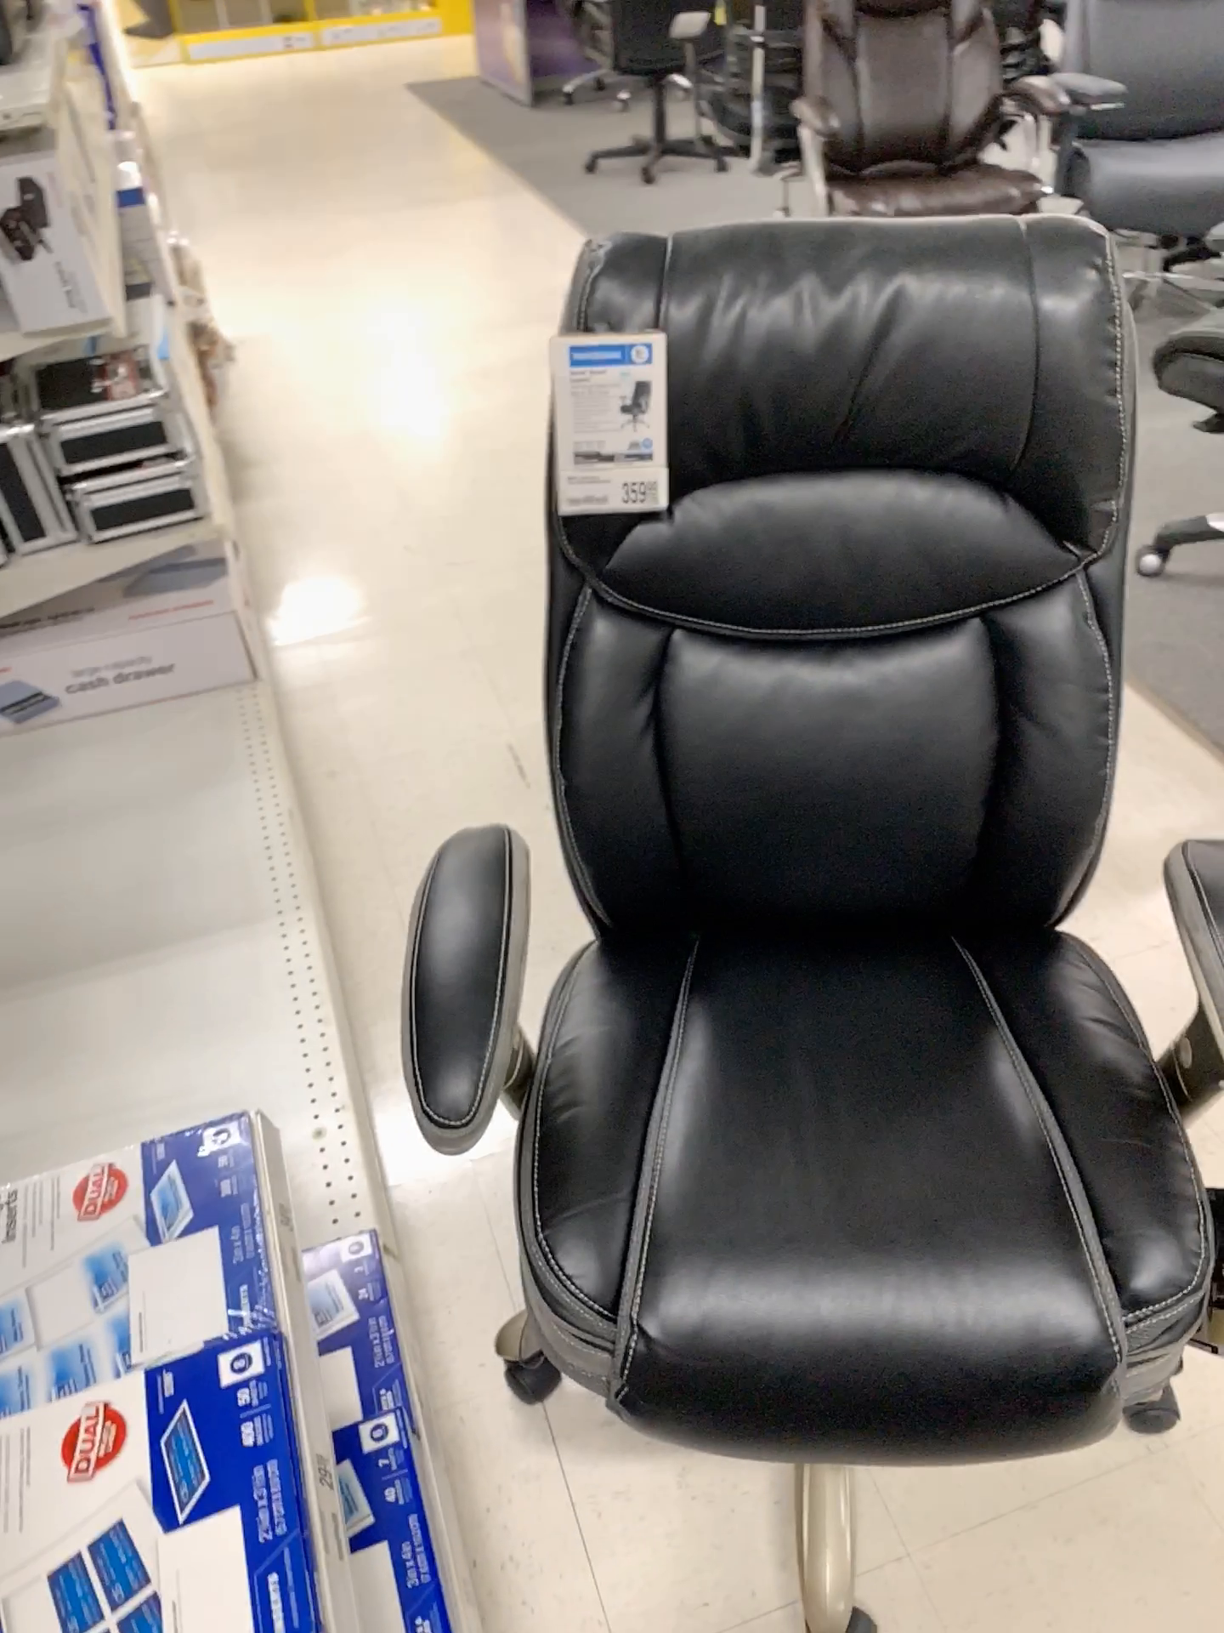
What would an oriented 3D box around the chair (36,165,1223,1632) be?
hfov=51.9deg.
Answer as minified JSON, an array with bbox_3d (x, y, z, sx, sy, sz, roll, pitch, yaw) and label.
[{"bbox_3d":[0.187,0.144,1.093,0.740,1.094,0.744,-2,39,3],"label":"chair"}]
